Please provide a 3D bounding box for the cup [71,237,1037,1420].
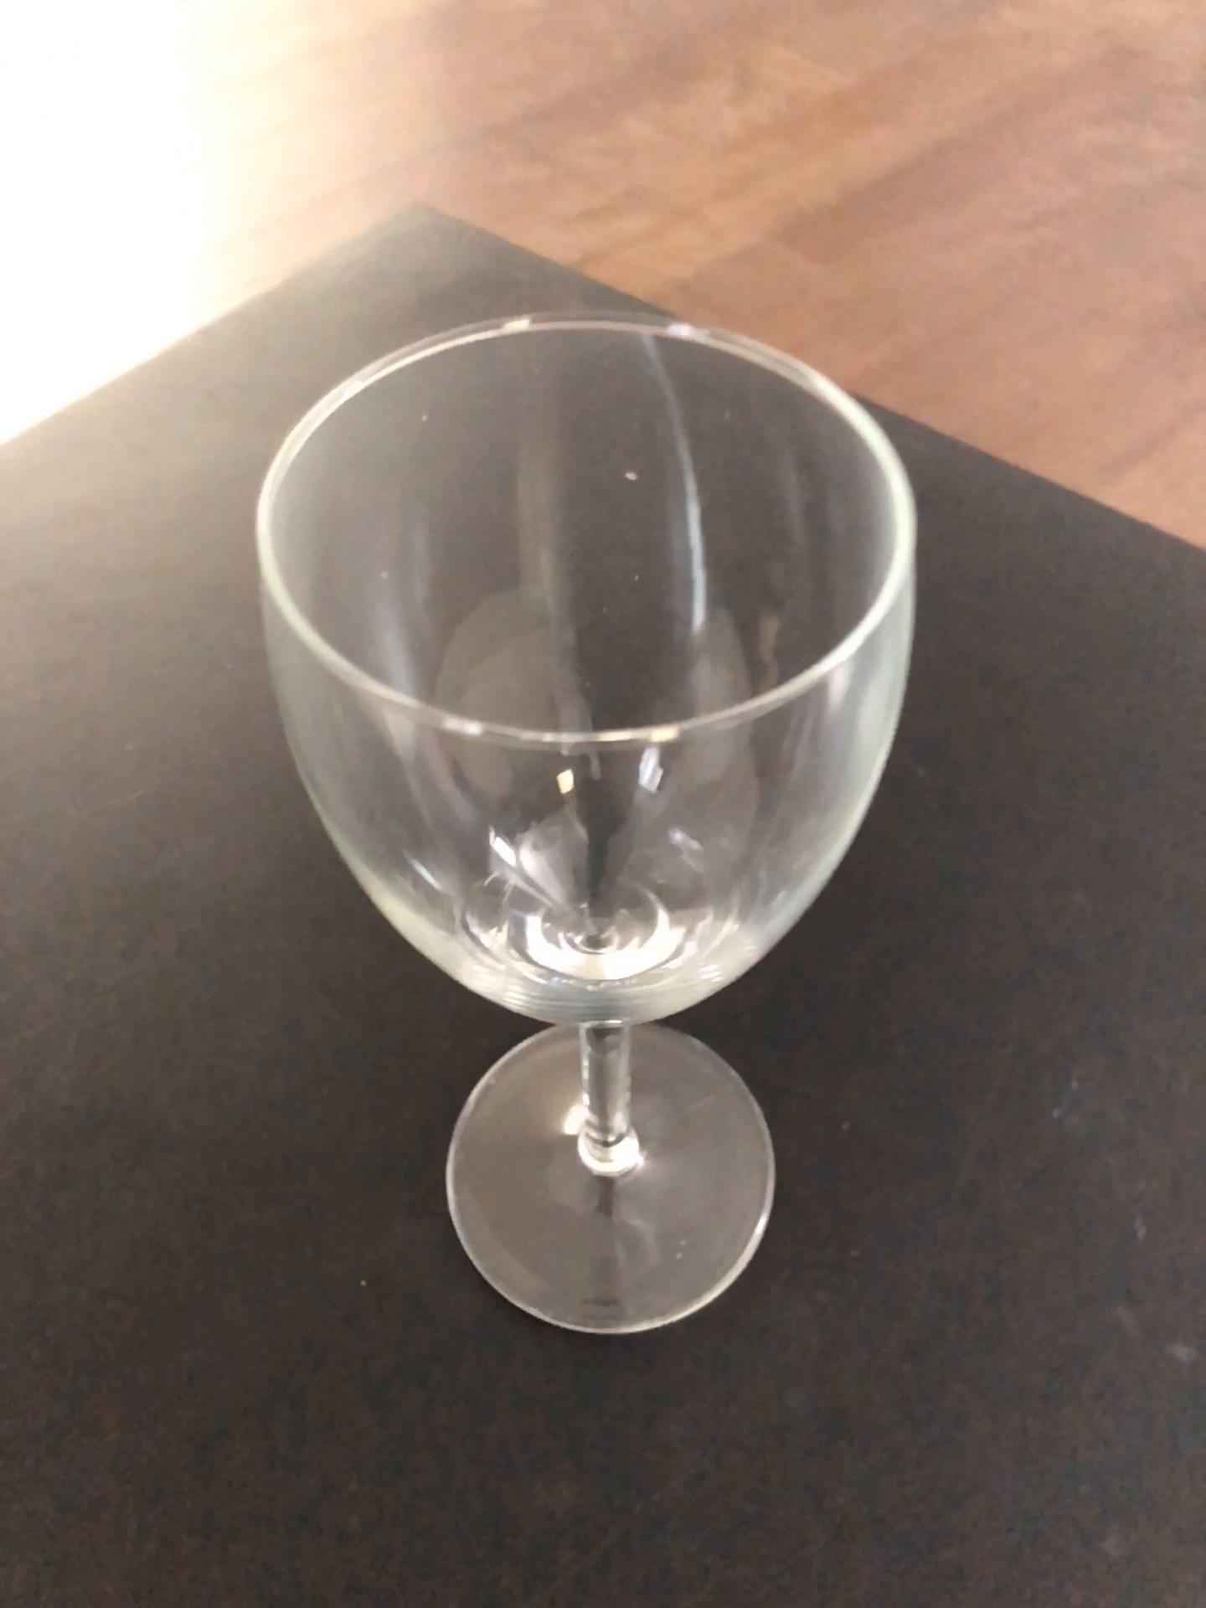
[{"bbox_3d":[0.000,0.020,0.222,0.080,0.179,0.081,-1,51,1],"label":"cup"}]
